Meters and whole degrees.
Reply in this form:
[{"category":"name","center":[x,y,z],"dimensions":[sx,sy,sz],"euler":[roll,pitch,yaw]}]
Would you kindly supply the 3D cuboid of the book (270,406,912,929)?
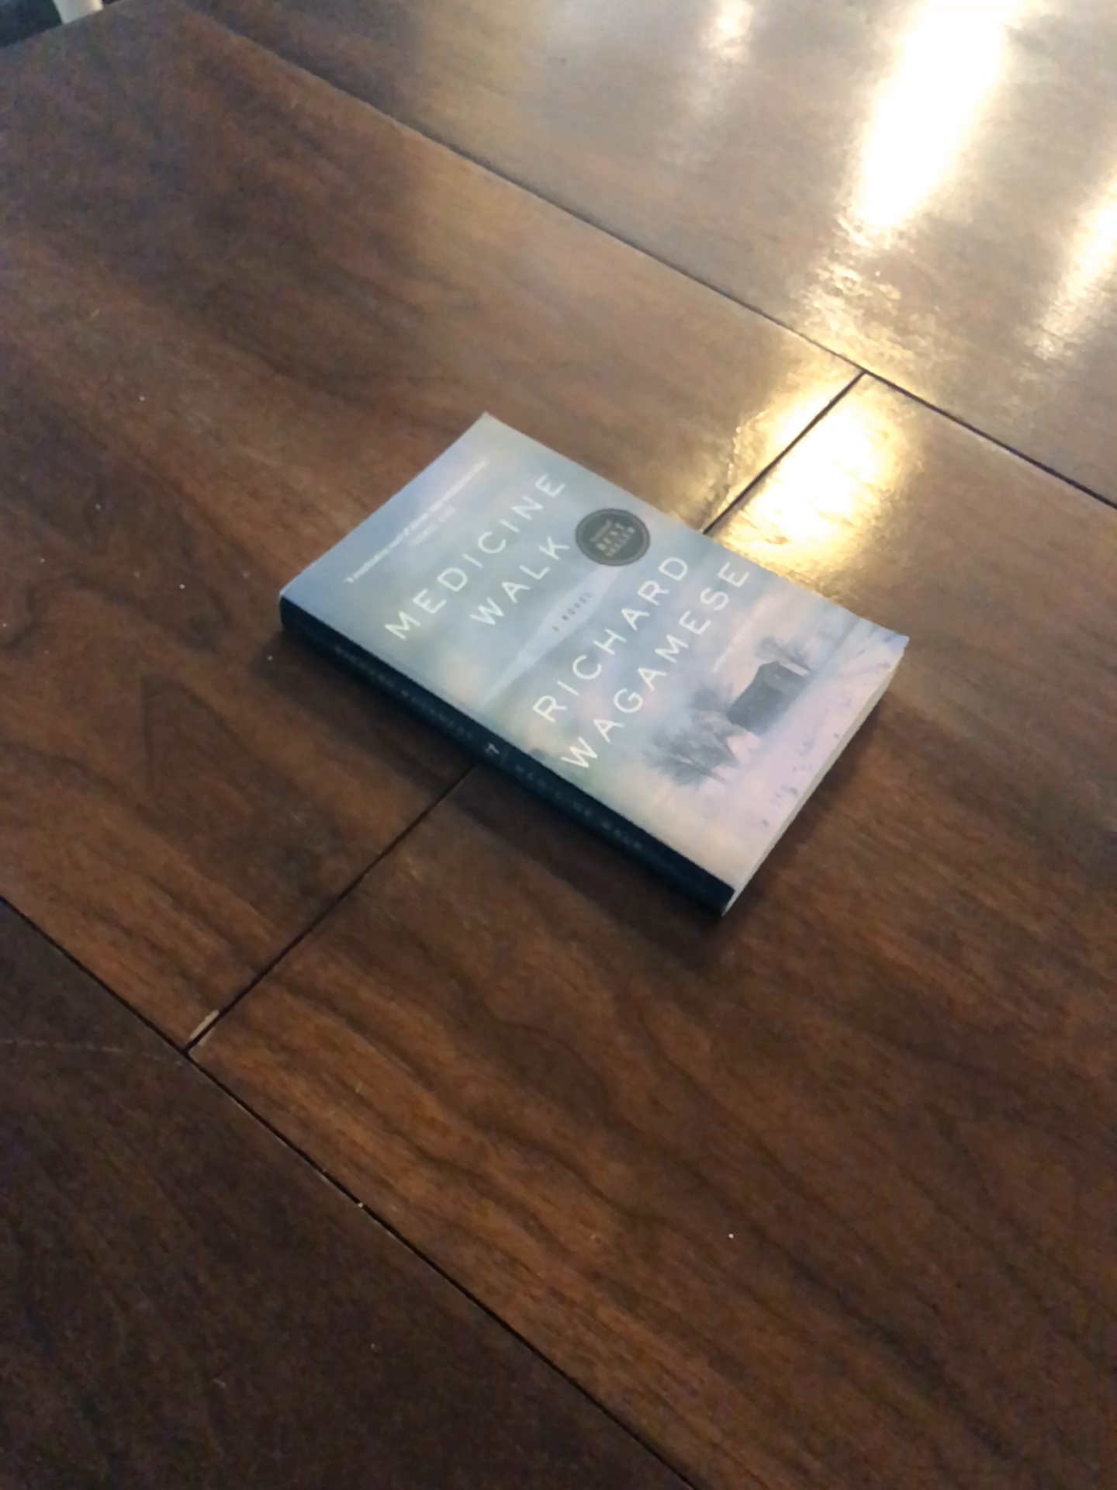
[{"category":"book","center":[0.014,-0.041,0.486],"dimensions":[0.206,0.027,0.138],"euler":[33,57,14]}]
